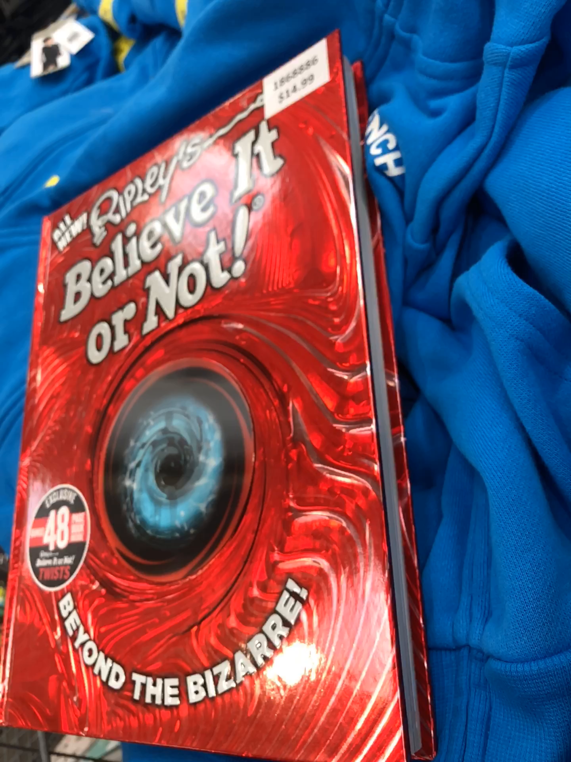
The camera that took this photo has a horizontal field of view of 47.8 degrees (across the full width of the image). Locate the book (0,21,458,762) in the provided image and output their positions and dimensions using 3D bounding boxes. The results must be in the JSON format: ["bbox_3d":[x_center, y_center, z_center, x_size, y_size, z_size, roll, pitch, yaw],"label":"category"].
[{"bbox_3d":[-0.054,0.010,0.324,0.245,0.027,0.303,-16,67,34],"label":"book"}]
